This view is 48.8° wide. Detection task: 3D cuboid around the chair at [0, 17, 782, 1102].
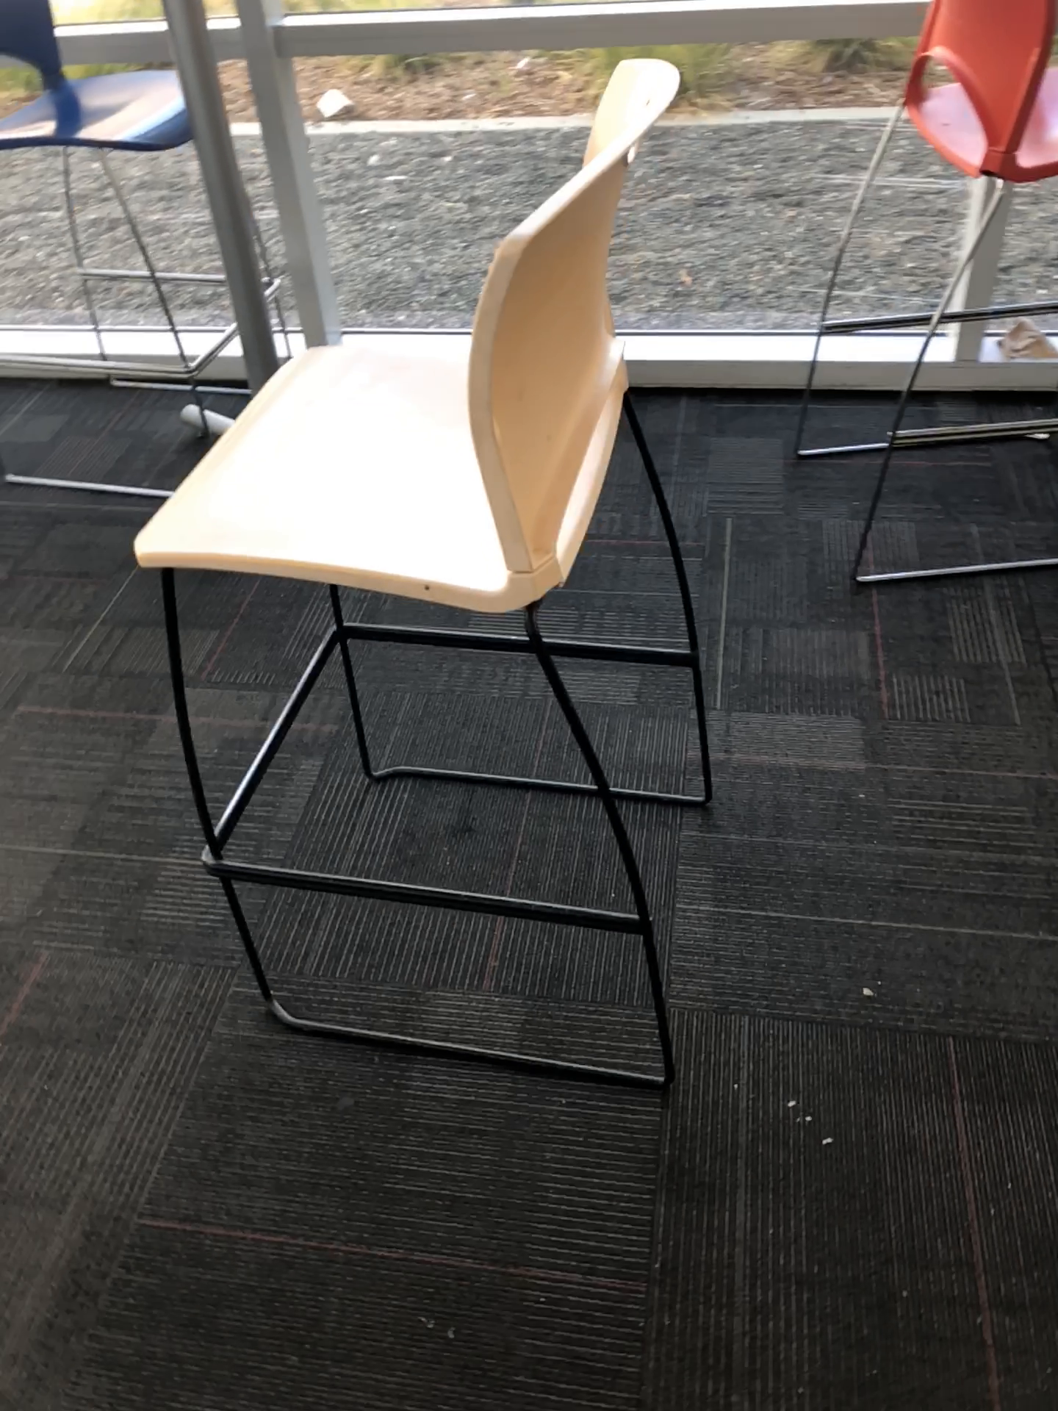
[{"bbox_3d":[-0.130,-0.134,1.318,0.721,0.995,0.583,5,42,11],"label":"chair"}]
